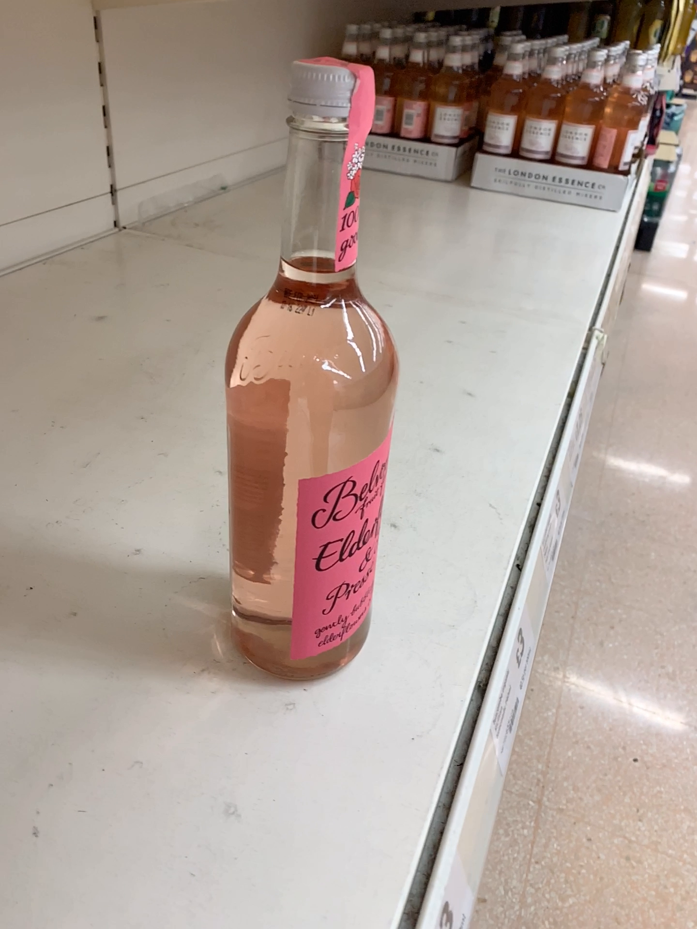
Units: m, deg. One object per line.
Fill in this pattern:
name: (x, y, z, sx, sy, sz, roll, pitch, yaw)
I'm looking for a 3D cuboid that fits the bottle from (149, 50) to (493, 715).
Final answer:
bottle: (-0.017, -0.026, 0.326, 0.086, 0.274, 0.087, 4, 33, -2)
